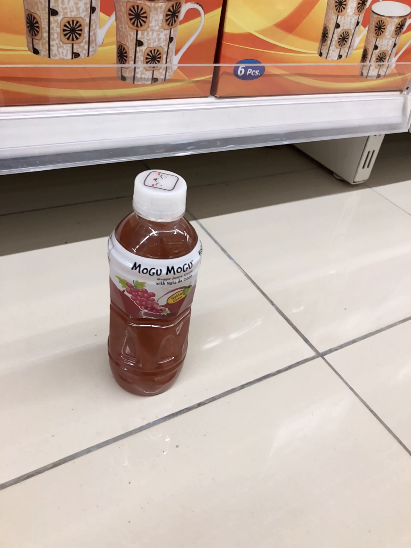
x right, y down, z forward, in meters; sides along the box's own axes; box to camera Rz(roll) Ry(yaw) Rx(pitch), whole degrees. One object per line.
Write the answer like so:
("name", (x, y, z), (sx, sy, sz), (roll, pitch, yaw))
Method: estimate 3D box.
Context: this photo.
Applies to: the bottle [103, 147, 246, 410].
("bottle", (-0.030, 0.009, 0.298), (0.070, 0.159, 0.070), (6, 37, -5))
